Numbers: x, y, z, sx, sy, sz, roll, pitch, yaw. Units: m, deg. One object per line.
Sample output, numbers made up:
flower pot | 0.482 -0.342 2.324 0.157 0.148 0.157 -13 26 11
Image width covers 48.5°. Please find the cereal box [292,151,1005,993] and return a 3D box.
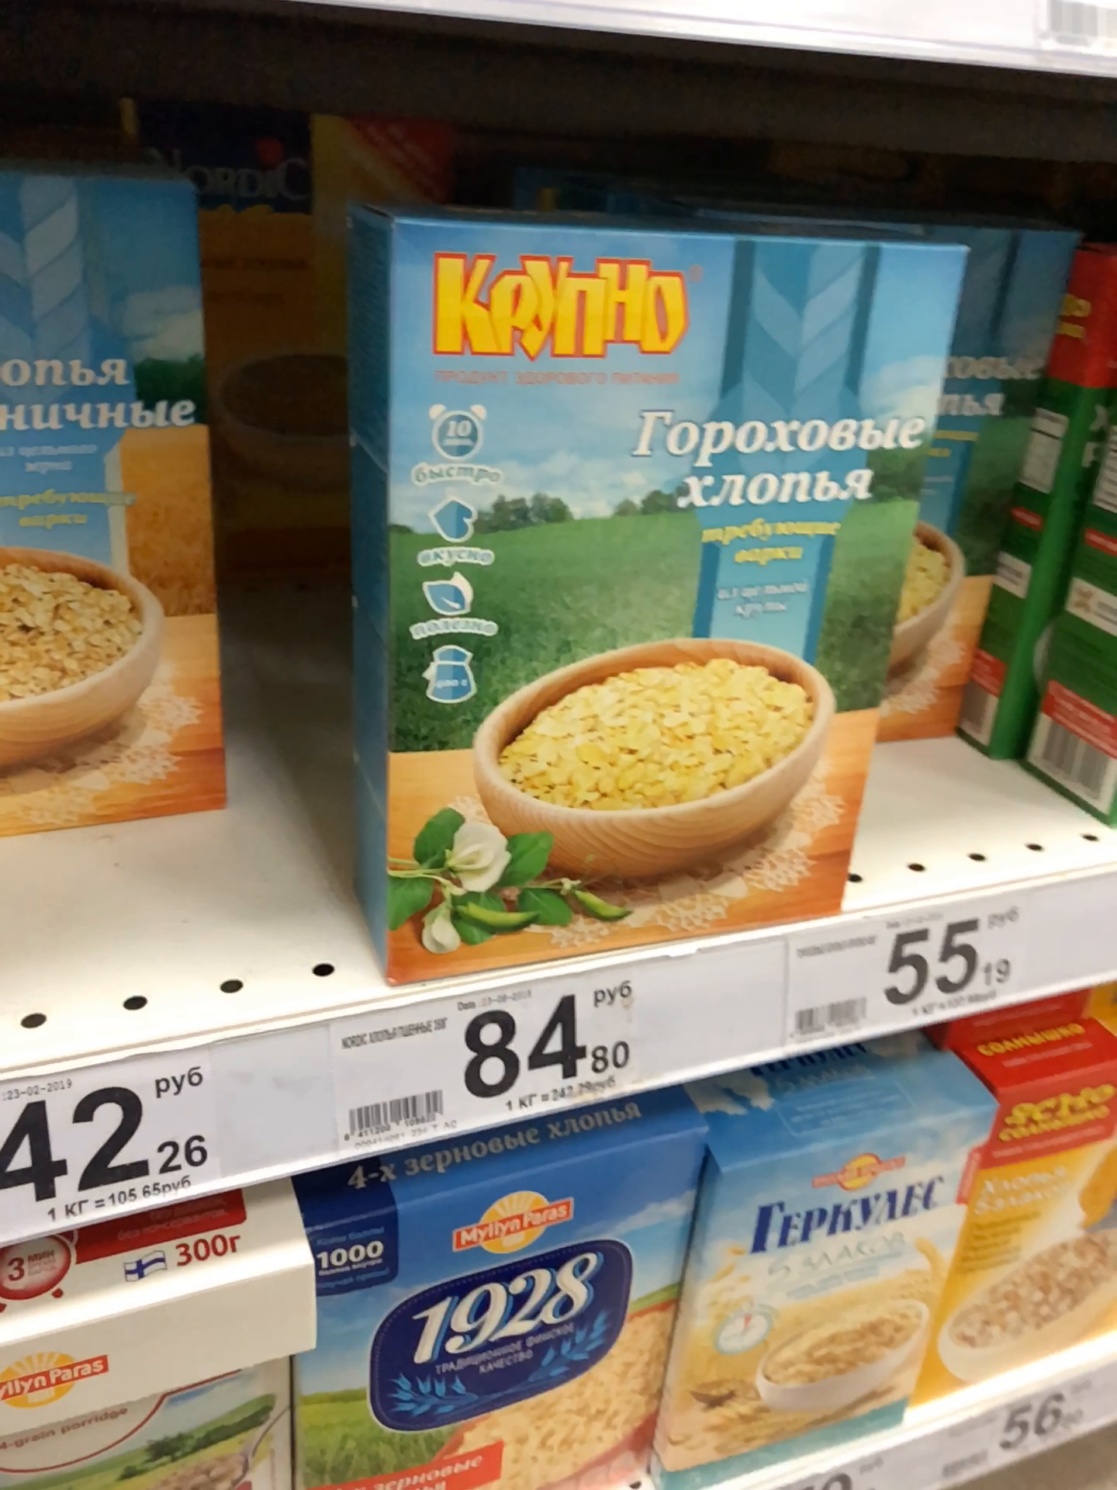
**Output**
cereal box | 0.016 -0.043 0.331 0.160 0.199 0.050 -6 27 -20
